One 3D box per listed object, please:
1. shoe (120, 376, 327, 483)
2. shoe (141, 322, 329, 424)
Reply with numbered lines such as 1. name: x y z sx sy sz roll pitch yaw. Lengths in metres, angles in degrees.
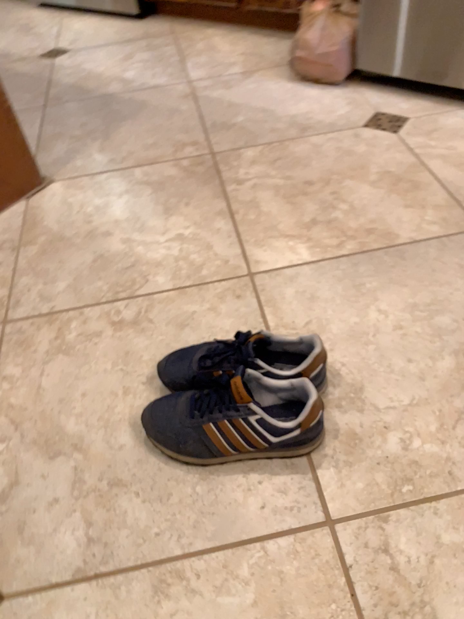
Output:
1. shoe: -0.006 0.178 0.718 0.282 0.102 0.112 0 47 7
2. shoe: 0.012 0.102 0.785 0.282 0.102 0.107 3 48 10
